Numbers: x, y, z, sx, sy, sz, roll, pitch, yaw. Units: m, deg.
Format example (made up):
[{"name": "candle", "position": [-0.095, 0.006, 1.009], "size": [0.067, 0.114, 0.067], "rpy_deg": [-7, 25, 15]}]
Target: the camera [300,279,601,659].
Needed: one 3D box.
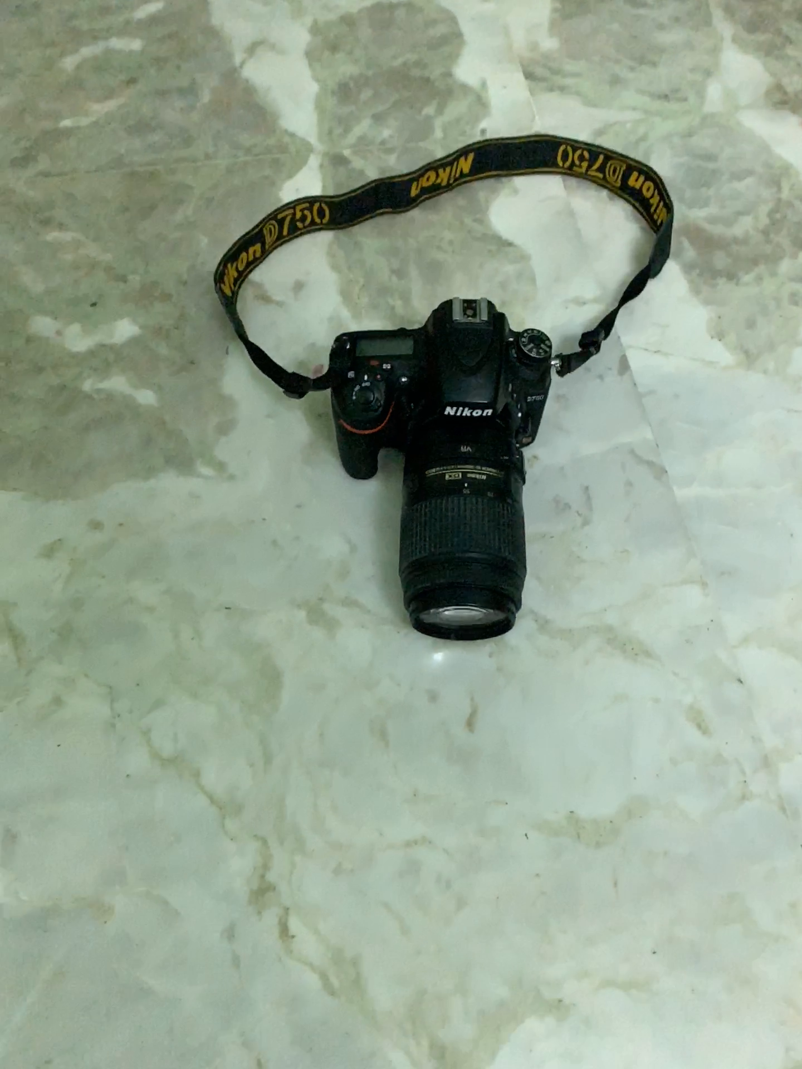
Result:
[{"name": "camera", "position": [0.027, -0.040, 0.510], "size": [0.150, 0.120, 0.201], "rpy_deg": [1, 61, 1]}]
